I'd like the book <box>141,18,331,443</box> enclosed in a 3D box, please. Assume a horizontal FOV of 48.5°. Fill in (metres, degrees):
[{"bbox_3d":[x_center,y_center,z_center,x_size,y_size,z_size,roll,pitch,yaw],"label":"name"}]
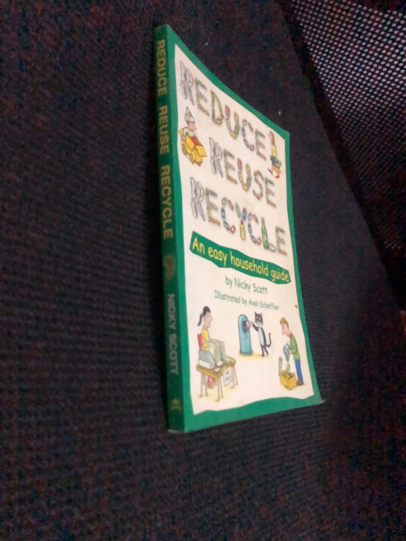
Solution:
[{"bbox_3d":[0.023,-0.013,0.231,0.131,0.018,0.173,15,67,-53],"label":"book"}]
